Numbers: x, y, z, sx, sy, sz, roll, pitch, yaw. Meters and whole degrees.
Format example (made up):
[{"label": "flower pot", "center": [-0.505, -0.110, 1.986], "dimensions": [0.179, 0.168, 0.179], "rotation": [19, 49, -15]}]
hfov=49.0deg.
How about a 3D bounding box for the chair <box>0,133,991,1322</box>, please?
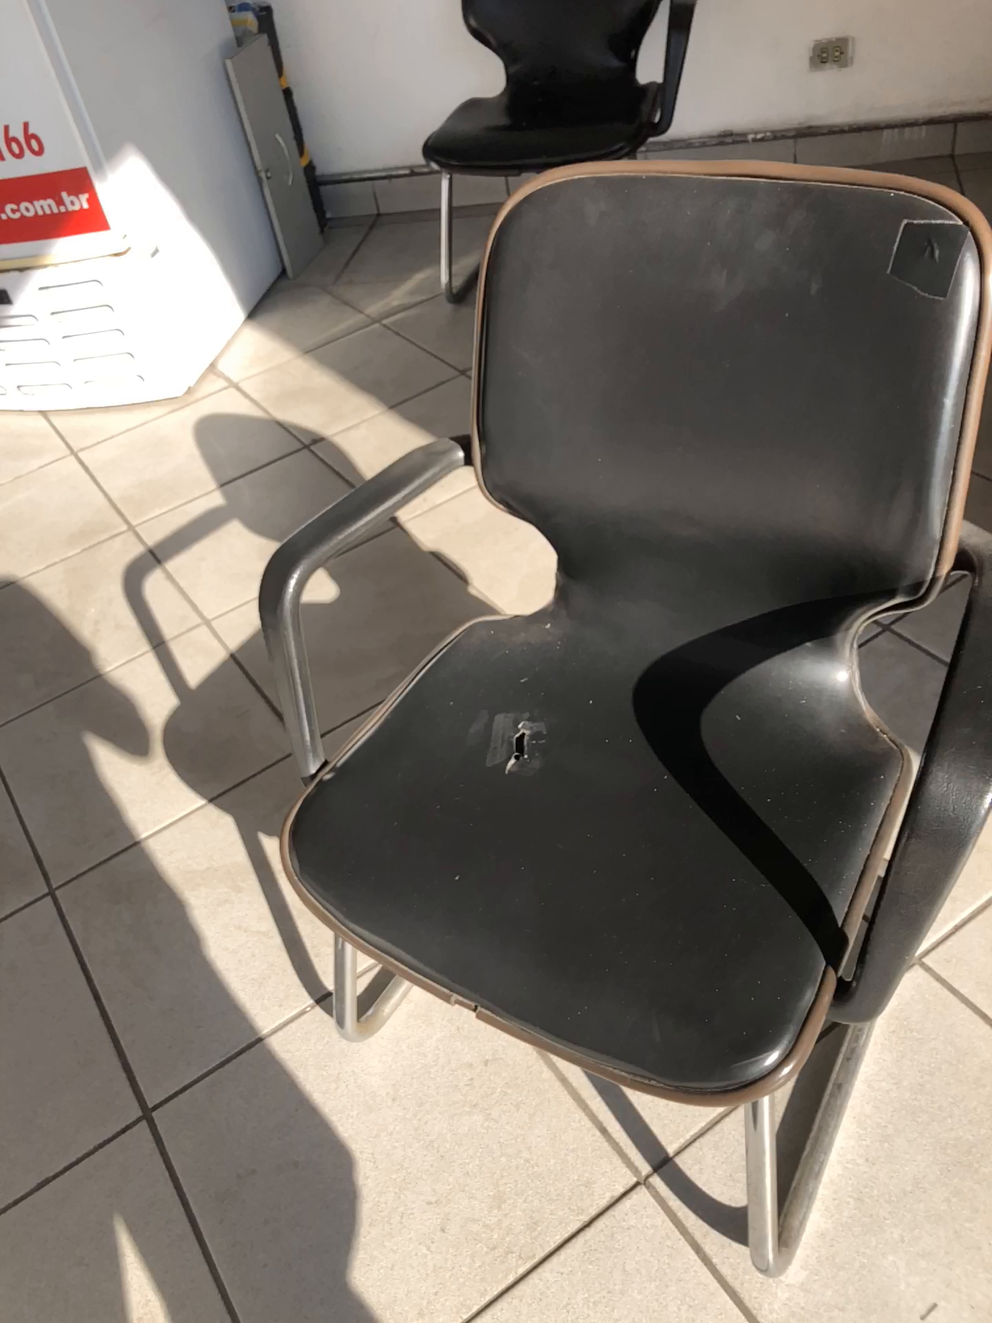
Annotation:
[{"label": "chair", "center": [0.119, 0.042, 1.031], "dimensions": [0.581, 0.824, 0.583], "rotation": [17, 49, 30]}]
